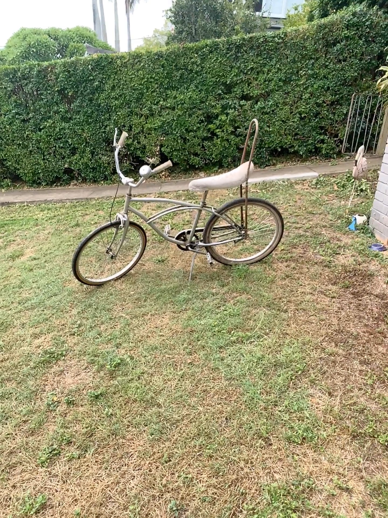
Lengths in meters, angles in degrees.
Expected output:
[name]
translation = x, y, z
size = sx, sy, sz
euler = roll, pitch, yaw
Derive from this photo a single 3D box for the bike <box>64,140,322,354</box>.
[bike]
translation = -0.077, -0.166, 2.923
size = 1.599, 0.991, 0.804
euler = -10, 23, -8
